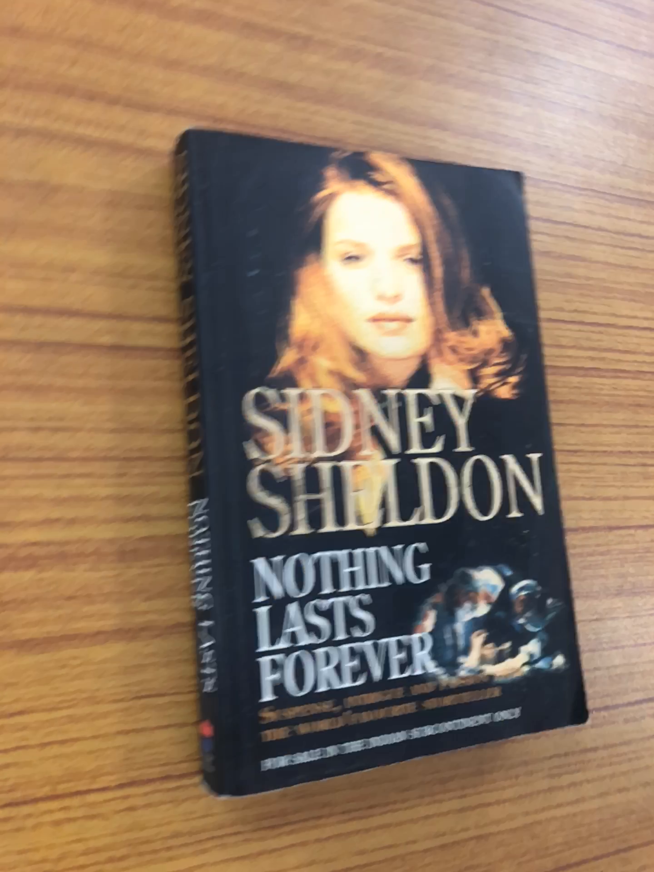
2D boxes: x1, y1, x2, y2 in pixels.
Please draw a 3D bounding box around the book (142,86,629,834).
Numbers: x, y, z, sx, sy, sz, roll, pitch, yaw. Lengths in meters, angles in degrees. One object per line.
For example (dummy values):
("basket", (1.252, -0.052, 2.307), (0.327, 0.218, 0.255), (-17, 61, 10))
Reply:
("book", (0.017, 0.001, 0.203), (0.120, 0.030, 0.170), (-2, 84, -23))
